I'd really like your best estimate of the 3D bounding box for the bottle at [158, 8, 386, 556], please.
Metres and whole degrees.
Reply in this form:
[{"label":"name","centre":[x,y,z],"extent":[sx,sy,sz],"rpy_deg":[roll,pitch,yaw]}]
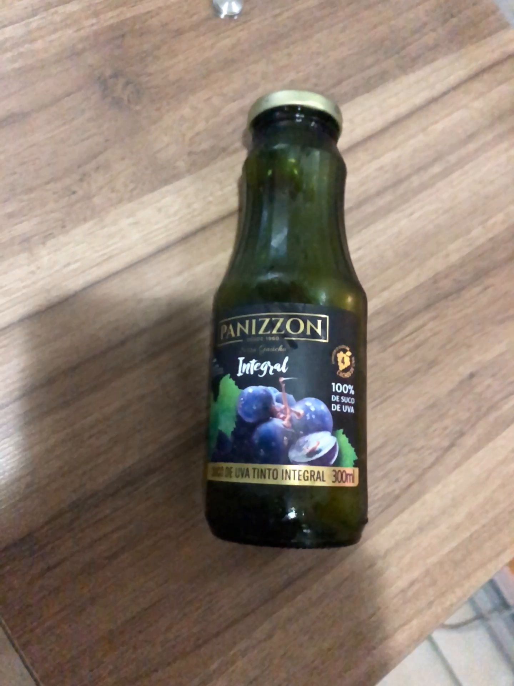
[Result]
[{"label":"bottle","centre":[0.014,-0.023,0.248],"extent":[0.070,0.070,0.200],"rpy_deg":[-2,79,22]}]
